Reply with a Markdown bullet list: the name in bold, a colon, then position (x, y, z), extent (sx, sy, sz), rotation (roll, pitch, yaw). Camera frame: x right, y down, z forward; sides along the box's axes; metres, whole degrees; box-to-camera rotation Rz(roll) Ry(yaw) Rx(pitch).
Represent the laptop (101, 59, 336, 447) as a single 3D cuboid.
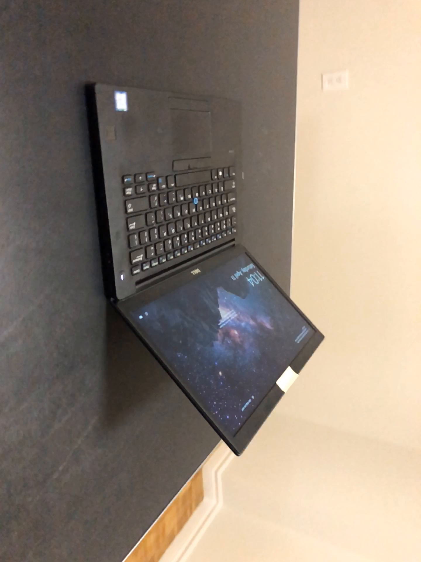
- **laptop**: position (0.037, -0.054, 0.594), extent (0.321, 0.140, 0.367), rotation (-30, 124, -57)
